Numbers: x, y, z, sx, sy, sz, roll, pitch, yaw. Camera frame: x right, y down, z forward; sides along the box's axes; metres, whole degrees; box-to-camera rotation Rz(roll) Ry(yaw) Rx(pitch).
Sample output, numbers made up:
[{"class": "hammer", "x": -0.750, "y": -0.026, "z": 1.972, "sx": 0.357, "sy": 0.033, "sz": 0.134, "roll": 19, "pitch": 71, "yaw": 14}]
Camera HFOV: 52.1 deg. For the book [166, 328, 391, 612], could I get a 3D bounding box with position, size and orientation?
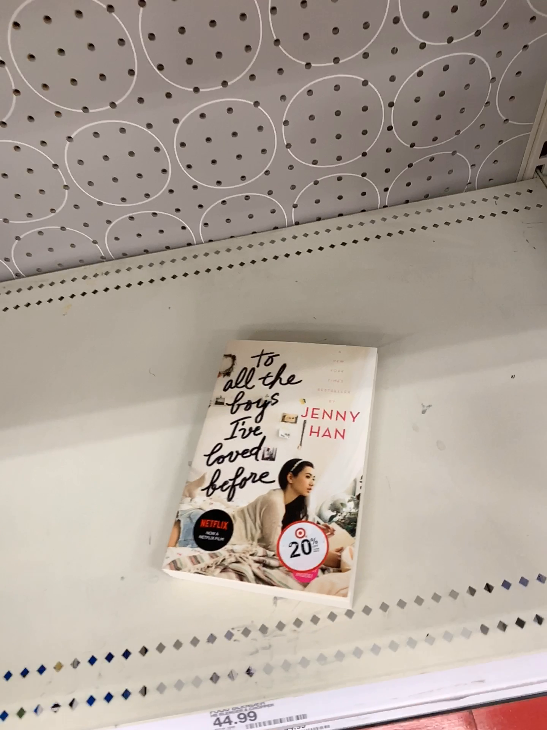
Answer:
[{"class": "book", "x": 0.014, "y": 0.071, "z": 0.456, "sx": 0.144, "sy": 0.034, "sz": 0.214, "roll": 5, "pitch": 58, "yaw": 11}]
